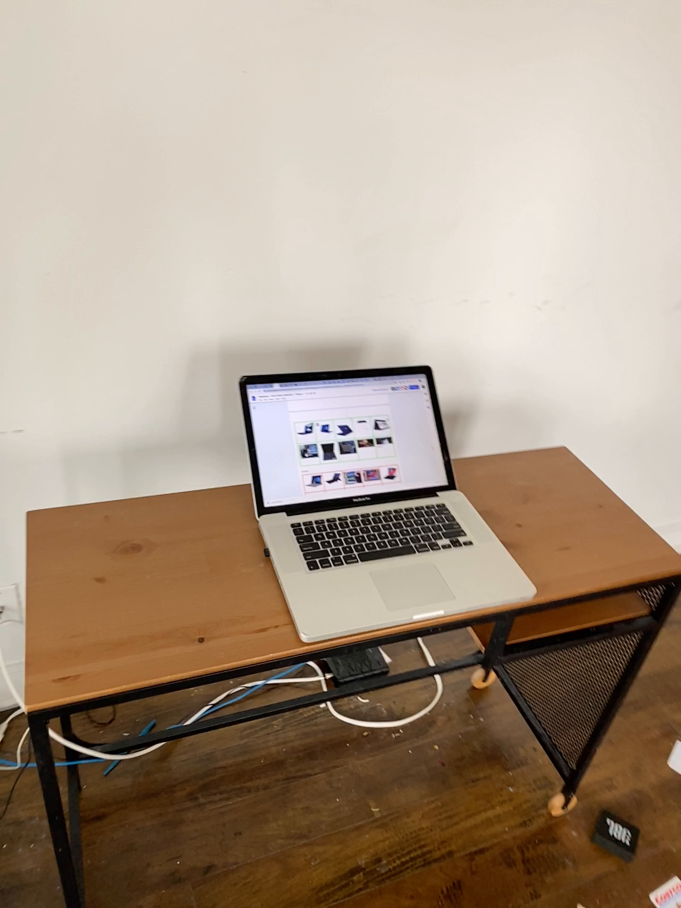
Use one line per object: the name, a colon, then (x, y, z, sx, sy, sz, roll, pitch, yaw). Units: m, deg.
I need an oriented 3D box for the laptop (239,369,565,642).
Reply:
laptop: (0.063, 0.045, 1.101, 0.359, 0.155, 0.437, -6, 36, -19)
